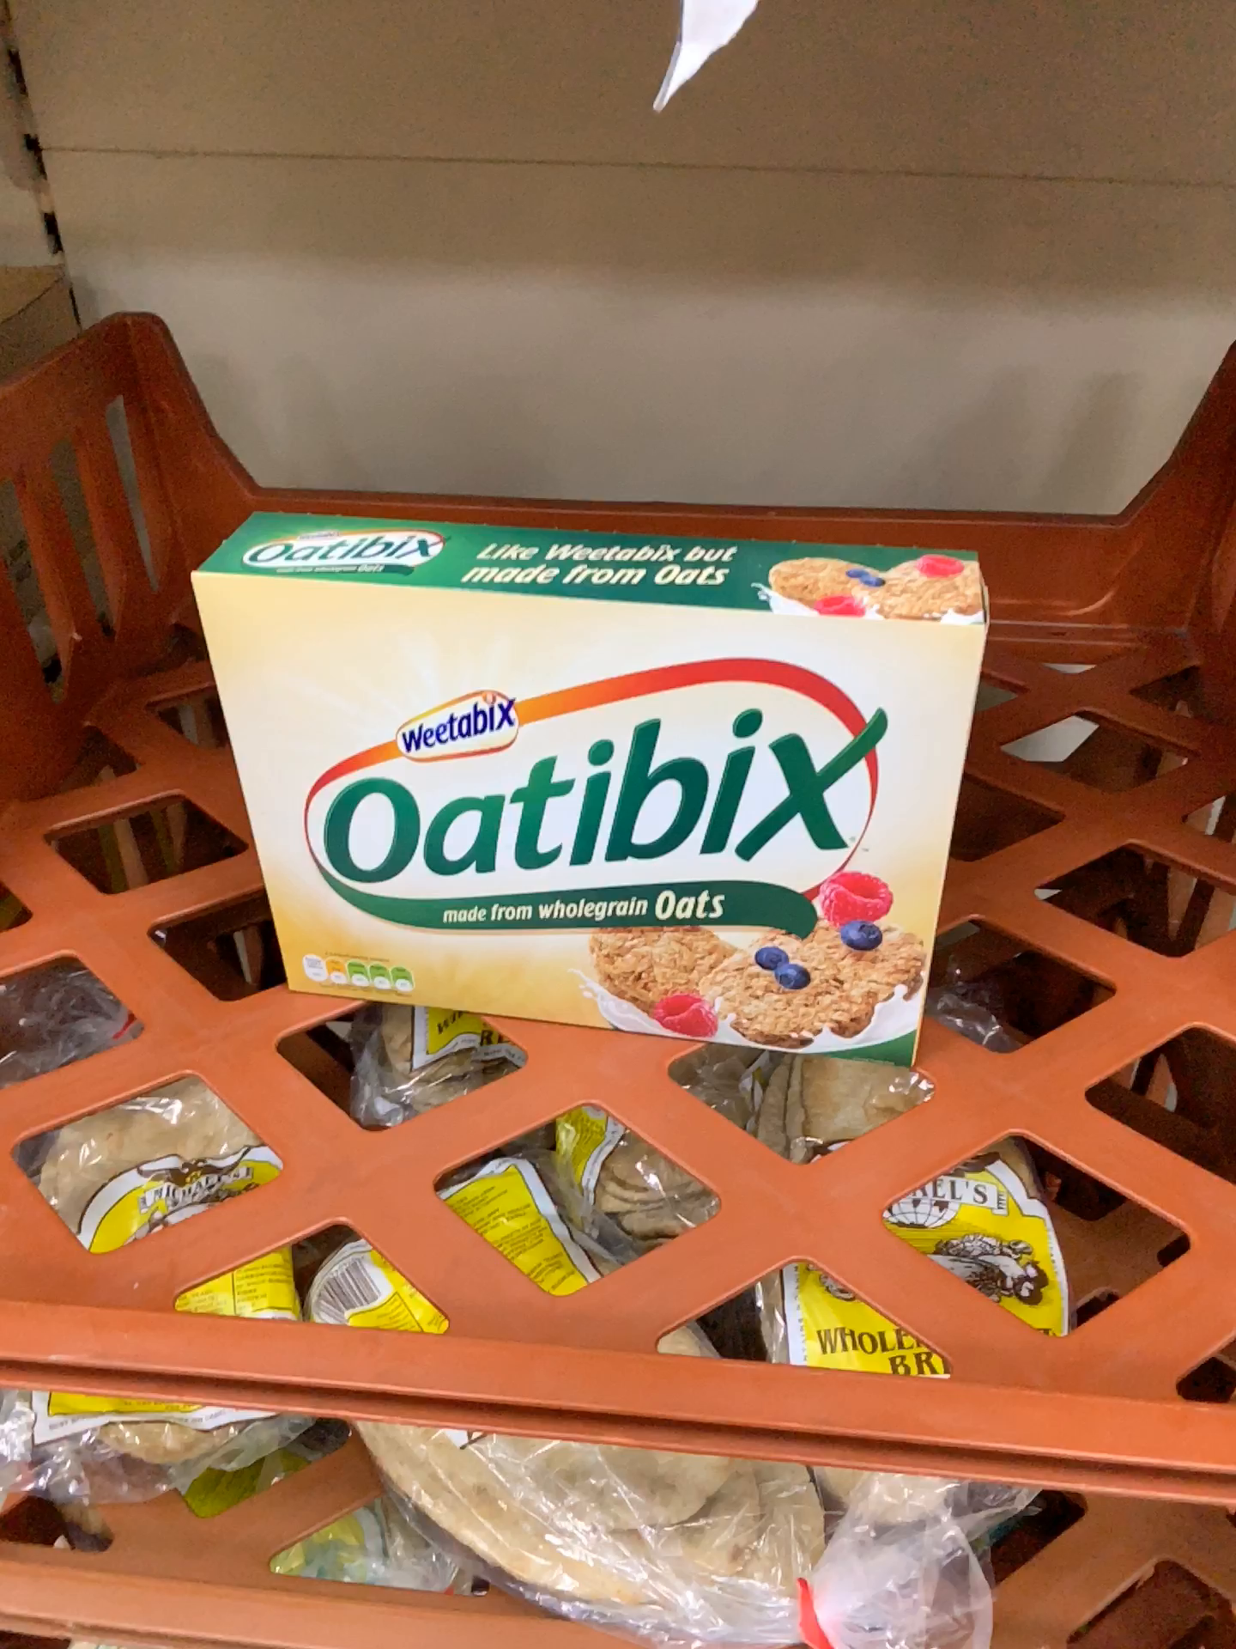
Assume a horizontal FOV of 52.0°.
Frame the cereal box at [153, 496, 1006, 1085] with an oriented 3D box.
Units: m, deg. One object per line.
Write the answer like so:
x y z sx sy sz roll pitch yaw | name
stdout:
-0.011 -0.012 0.457 0.260 0.178 0.071 6 36 9 | cereal box
